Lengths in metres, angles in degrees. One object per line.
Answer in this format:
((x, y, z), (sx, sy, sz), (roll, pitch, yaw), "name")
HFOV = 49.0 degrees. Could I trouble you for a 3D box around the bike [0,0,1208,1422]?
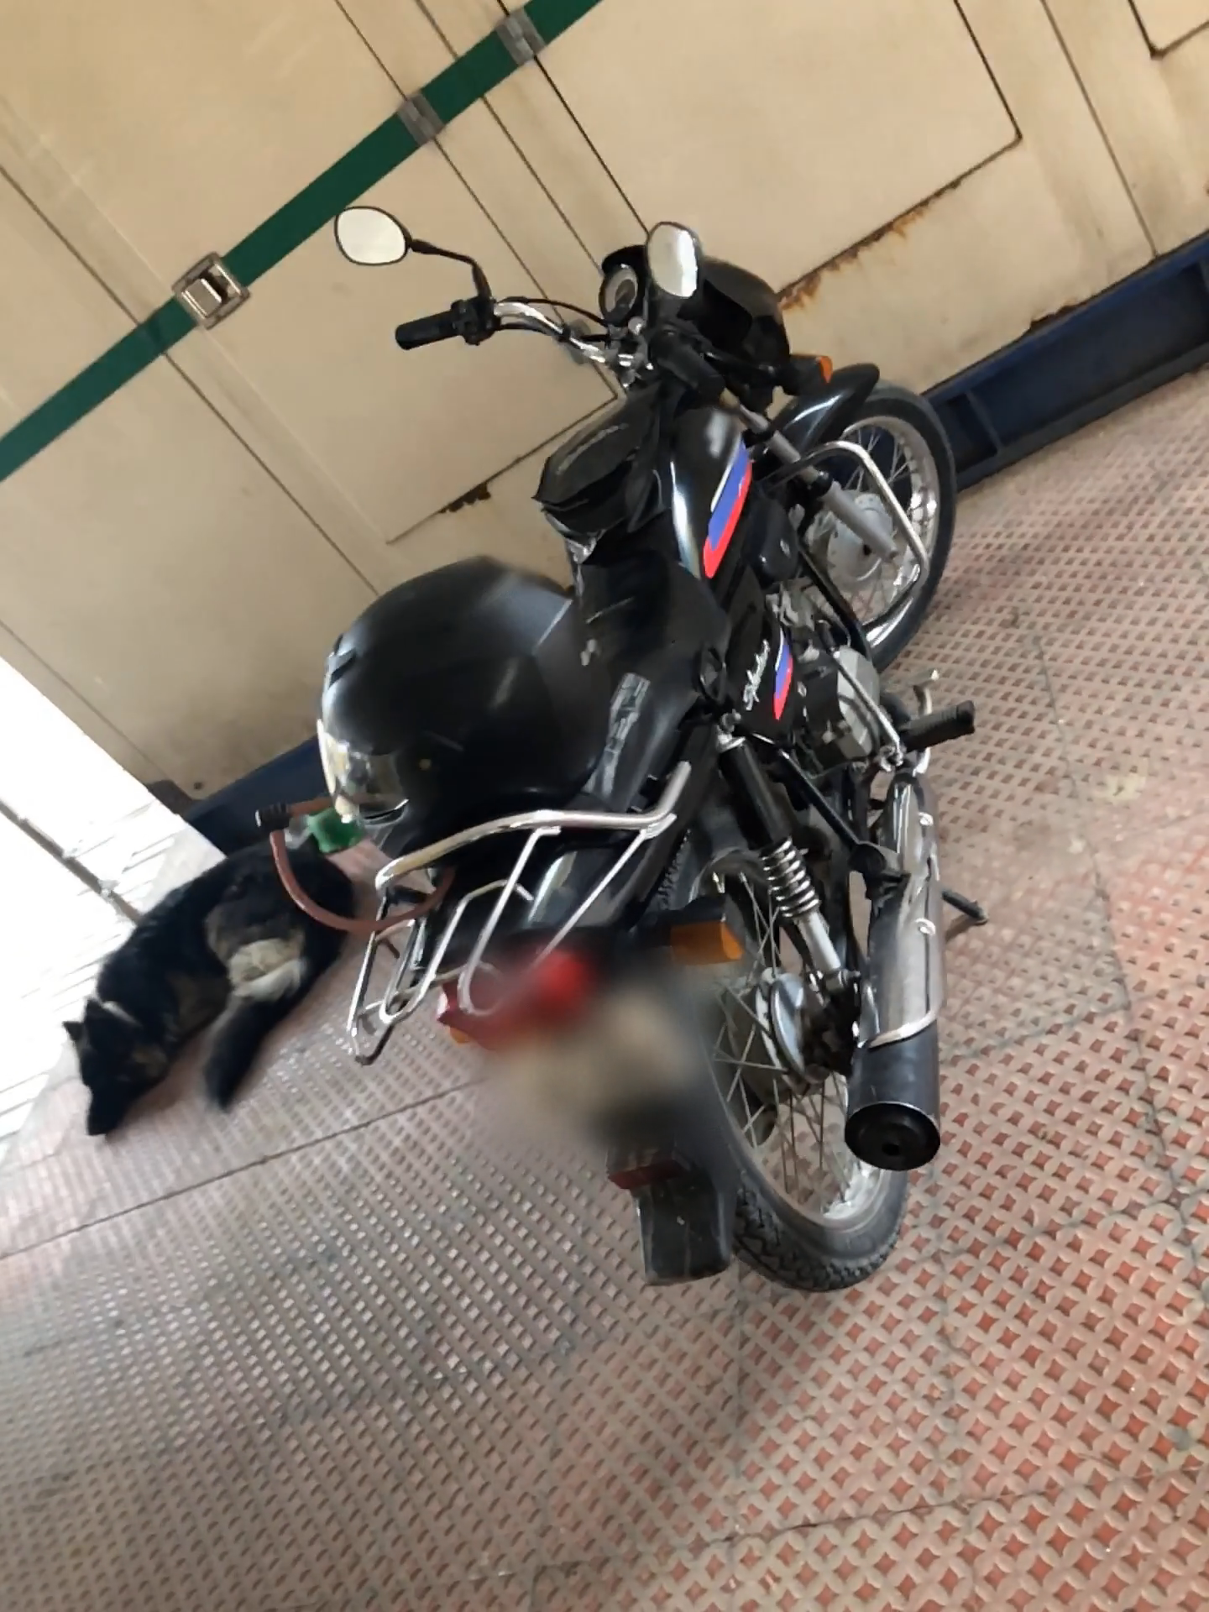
((0.285, -0.258, 1.970), (0.737, 1.087, 1.862), (-19, 33, 33), "bike")
